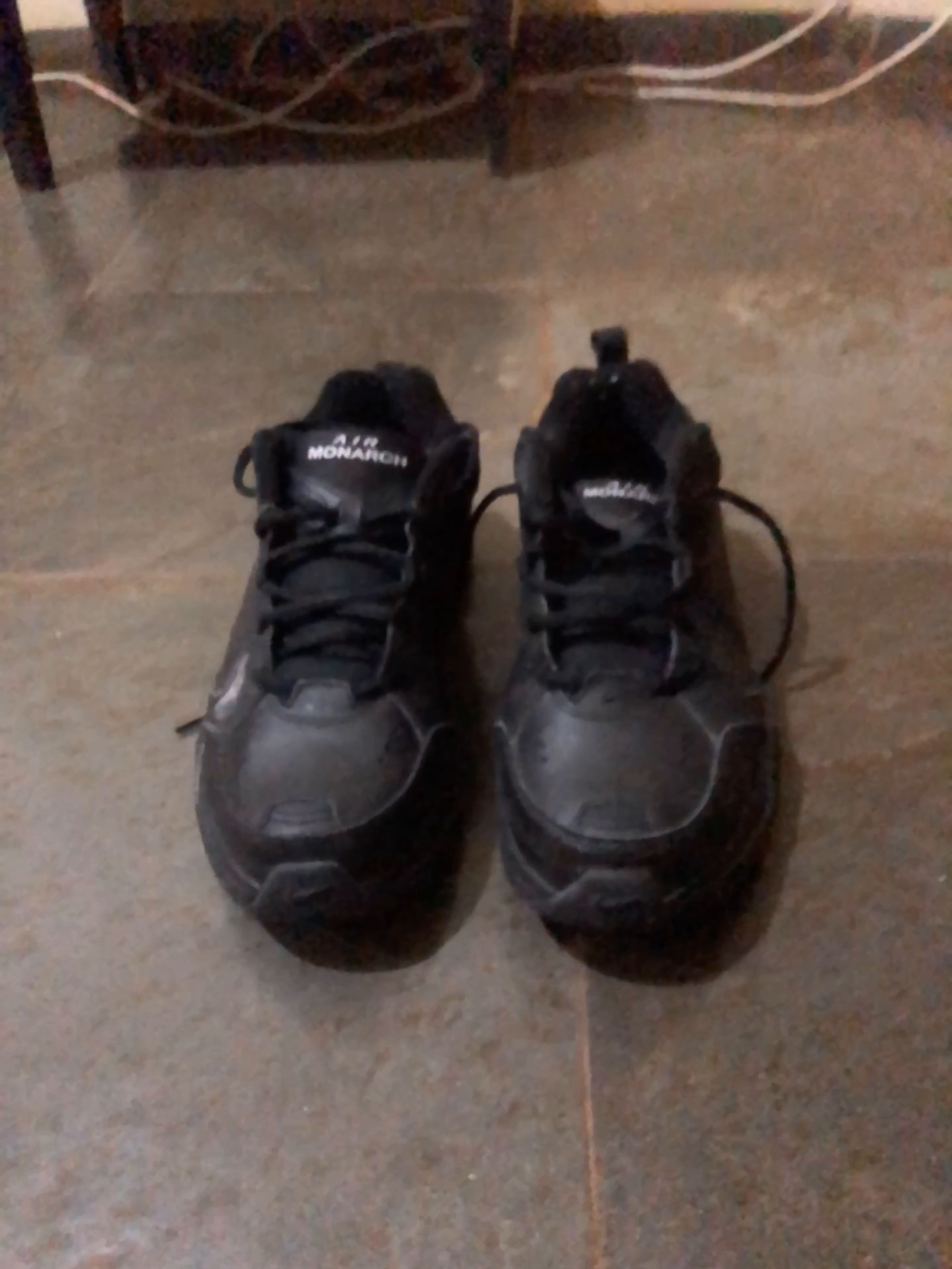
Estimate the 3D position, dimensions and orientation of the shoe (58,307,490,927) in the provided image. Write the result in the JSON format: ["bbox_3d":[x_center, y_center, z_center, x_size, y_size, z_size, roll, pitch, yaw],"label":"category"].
[{"bbox_3d":[-0.057,-0.029,0.452,0.120,0.109,0.282,0,40,2],"label":"shoe"}]

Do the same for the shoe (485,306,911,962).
[{"bbox_3d":[0.071,-0.026,0.452,0.120,0.109,0.302,1,40,3],"label":"shoe"}]
